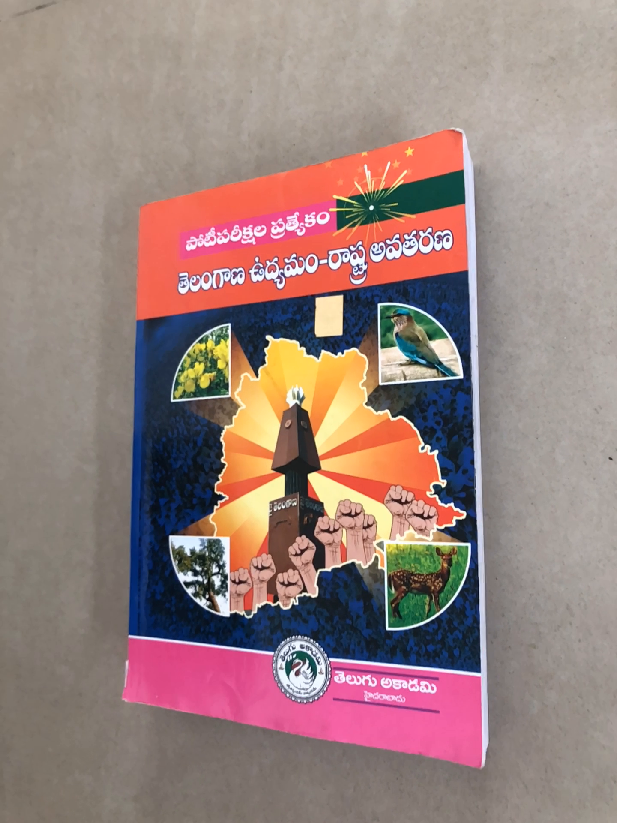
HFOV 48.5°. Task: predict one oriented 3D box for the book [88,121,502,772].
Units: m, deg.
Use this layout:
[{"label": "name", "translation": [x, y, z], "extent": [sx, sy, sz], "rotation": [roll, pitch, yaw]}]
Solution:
[{"label": "book", "translation": [-0.015, 0.014, 0.342], "extent": [0.202, 0.040, 0.265], "rotation": [-4, 82, 27]}]
